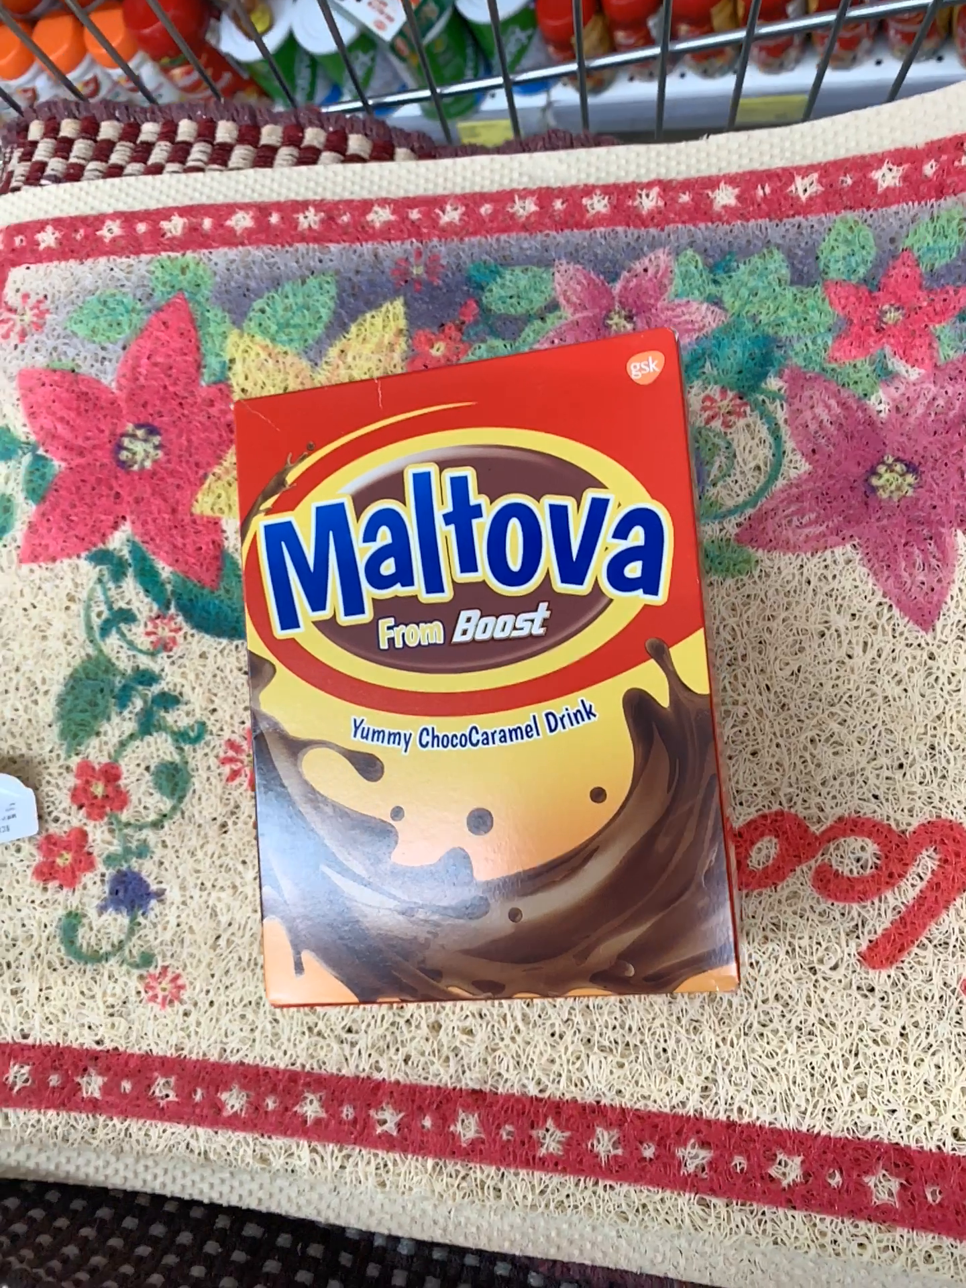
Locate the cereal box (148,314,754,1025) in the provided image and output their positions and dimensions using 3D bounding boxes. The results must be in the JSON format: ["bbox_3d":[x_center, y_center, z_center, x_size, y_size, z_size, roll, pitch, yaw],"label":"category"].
[{"bbox_3d":[-0.010,0.012,0.283,0.150,0.050,0.170,-6,84,15],"label":"cereal box"}]
